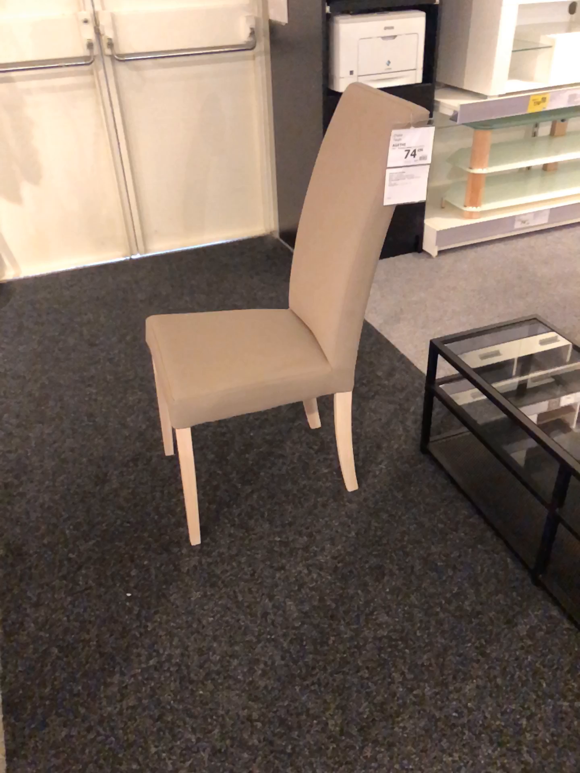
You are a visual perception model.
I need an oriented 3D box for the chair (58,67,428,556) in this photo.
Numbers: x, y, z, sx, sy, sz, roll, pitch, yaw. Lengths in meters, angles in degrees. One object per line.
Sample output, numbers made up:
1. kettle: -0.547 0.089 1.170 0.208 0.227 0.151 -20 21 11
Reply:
1. chair: -0.119 -0.190 1.535 0.631 0.945 0.532 -12 35 -14
